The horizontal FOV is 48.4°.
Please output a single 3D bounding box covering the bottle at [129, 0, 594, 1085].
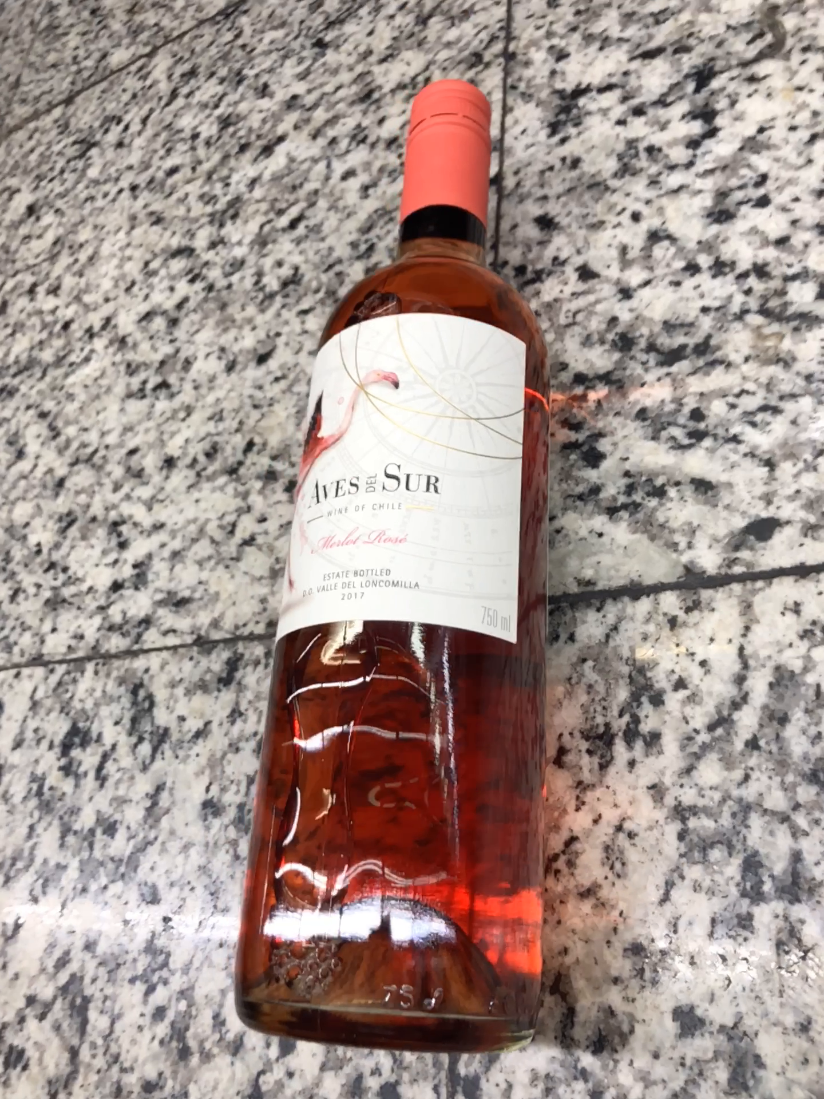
[{"bbox_3d":[0.000,-0.031,0.296,0.090,0.070,0.341,-11,61,29],"label":"bottle"}]
